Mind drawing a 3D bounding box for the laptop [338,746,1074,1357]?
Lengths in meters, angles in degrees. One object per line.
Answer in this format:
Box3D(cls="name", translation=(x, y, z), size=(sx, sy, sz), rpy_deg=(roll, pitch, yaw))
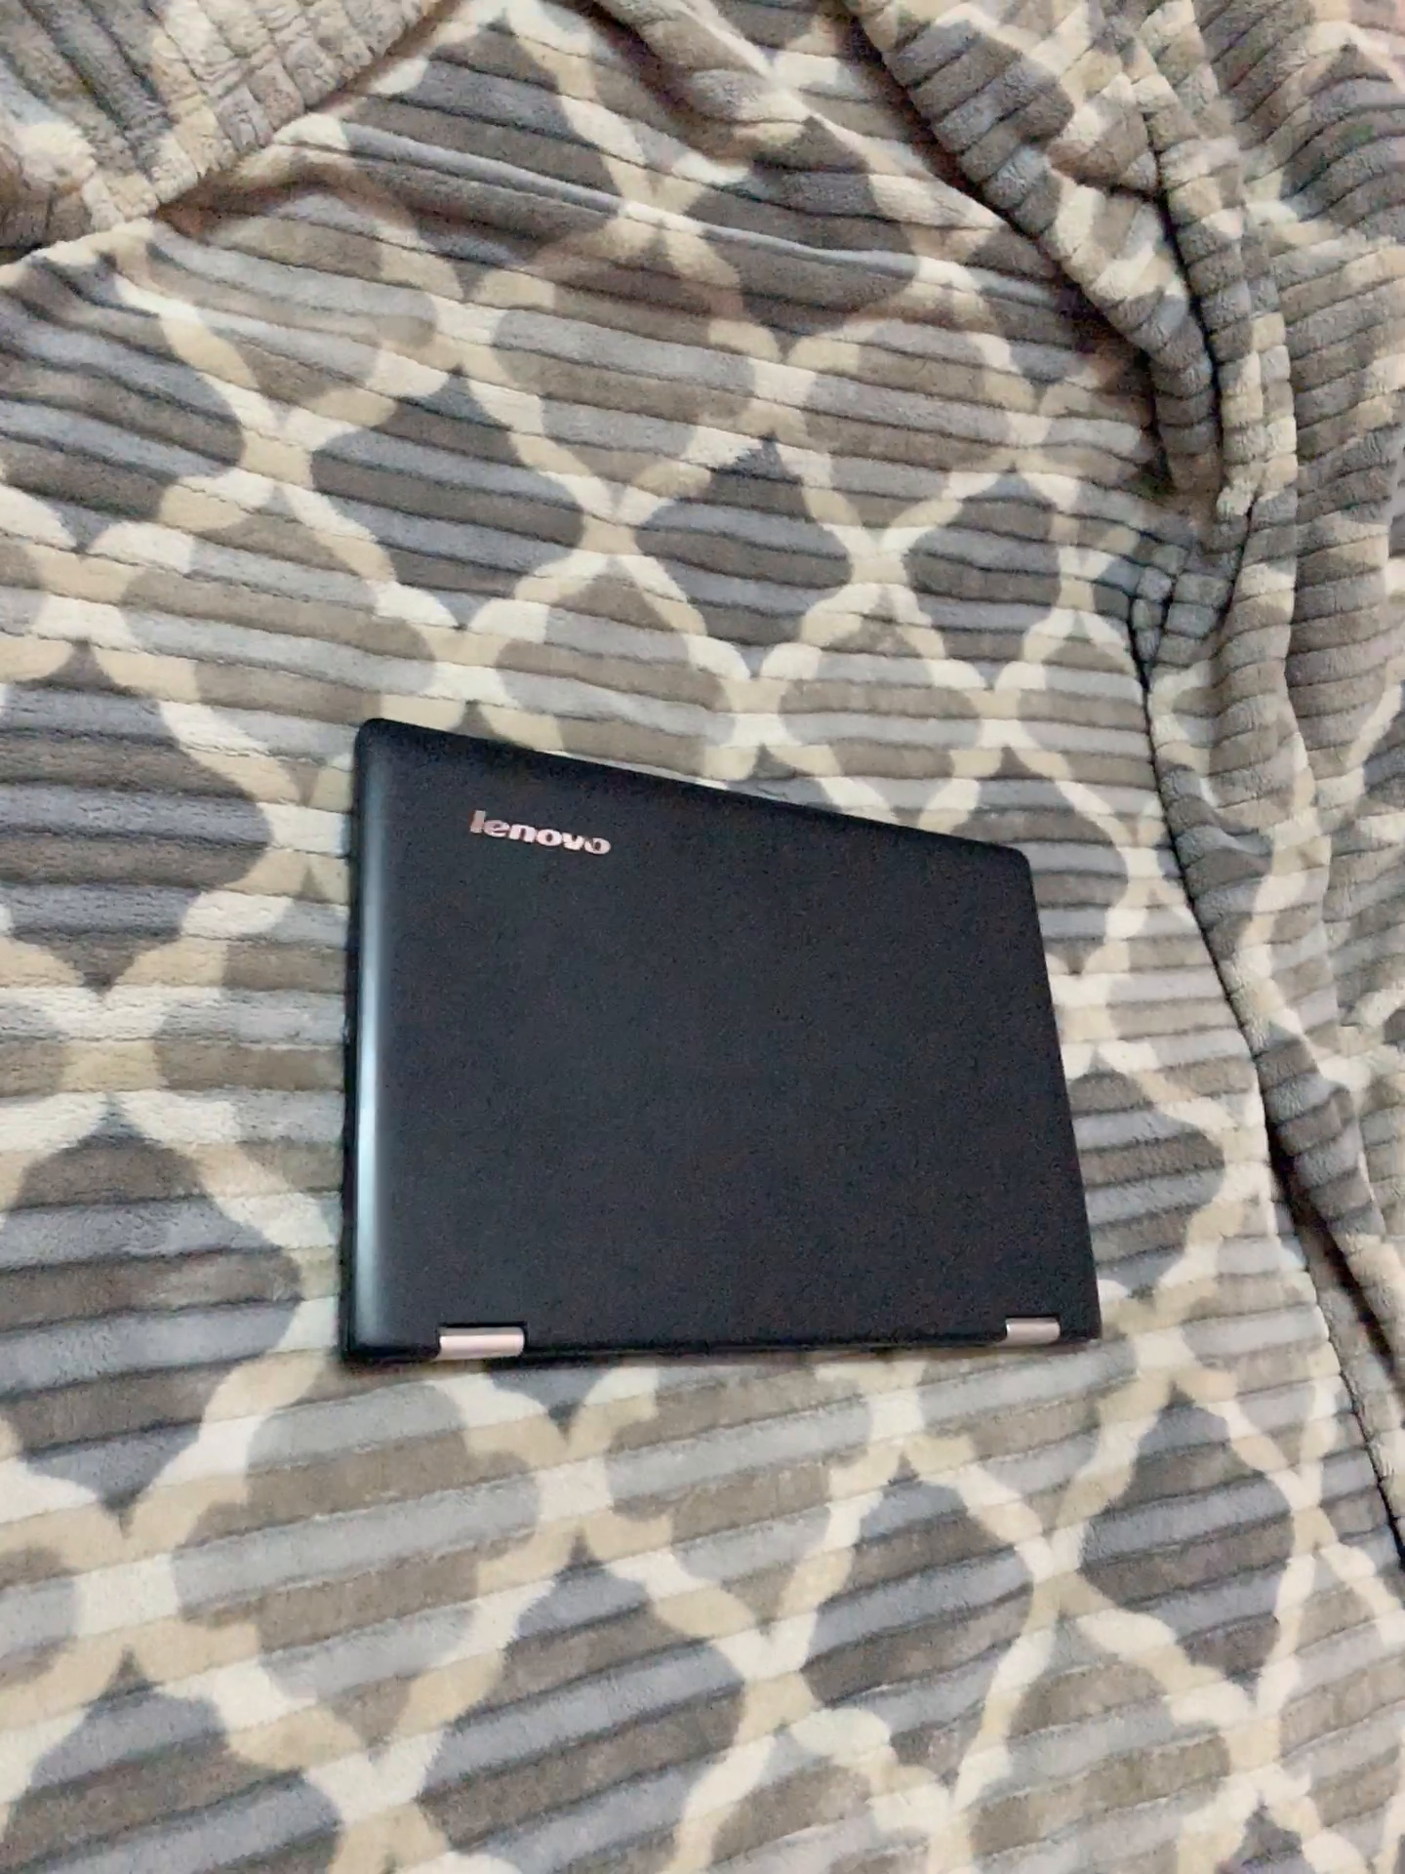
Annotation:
Box3D(cls="laptop", translation=(0.018, 0.054, 0.608), size=(0.340, 0.003, 0.228), rpy_deg=(8, 67, -30))
